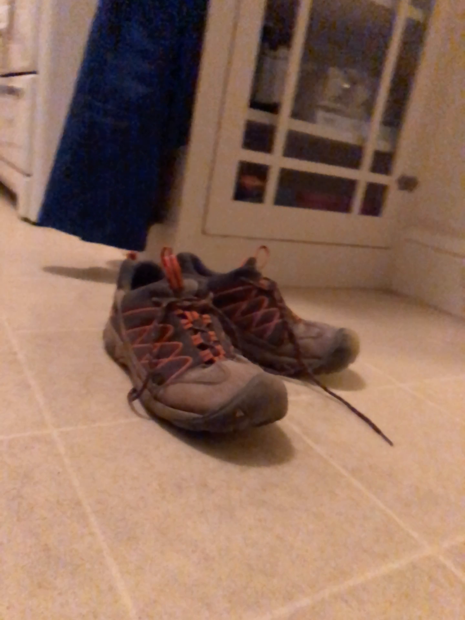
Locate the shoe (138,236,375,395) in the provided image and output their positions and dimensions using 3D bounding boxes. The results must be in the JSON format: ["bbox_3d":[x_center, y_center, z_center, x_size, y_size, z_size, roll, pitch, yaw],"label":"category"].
[{"bbox_3d":[0.036,-0.003,0.702,0.282,0.122,0.128,15,17,12],"label":"shoe"}]

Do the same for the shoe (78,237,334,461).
[{"bbox_3d":[-0.051,0.017,0.563,0.127,0.122,0.293,-1,21,-36],"label":"shoe"}]
